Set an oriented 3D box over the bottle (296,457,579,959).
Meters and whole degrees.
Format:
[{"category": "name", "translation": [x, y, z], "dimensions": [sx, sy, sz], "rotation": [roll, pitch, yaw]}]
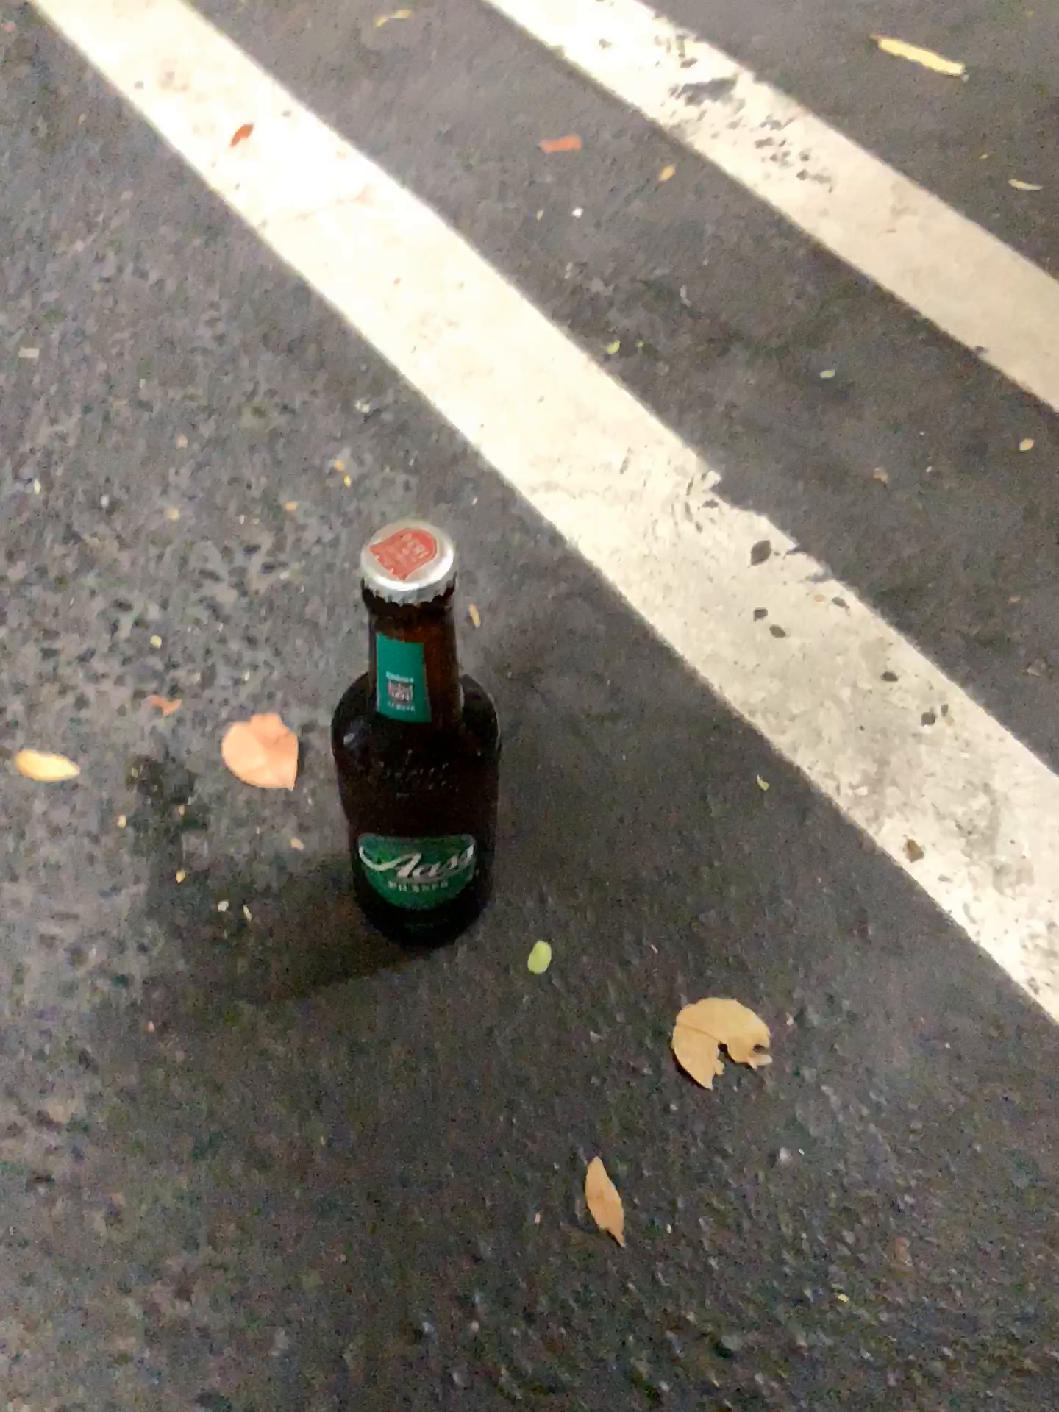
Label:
[{"category": "bottle", "translation": [-0.035, 0.015, 0.406], "dimensions": [0.070, 0.210, 0.070], "rotation": [2, 59, -4]}]
